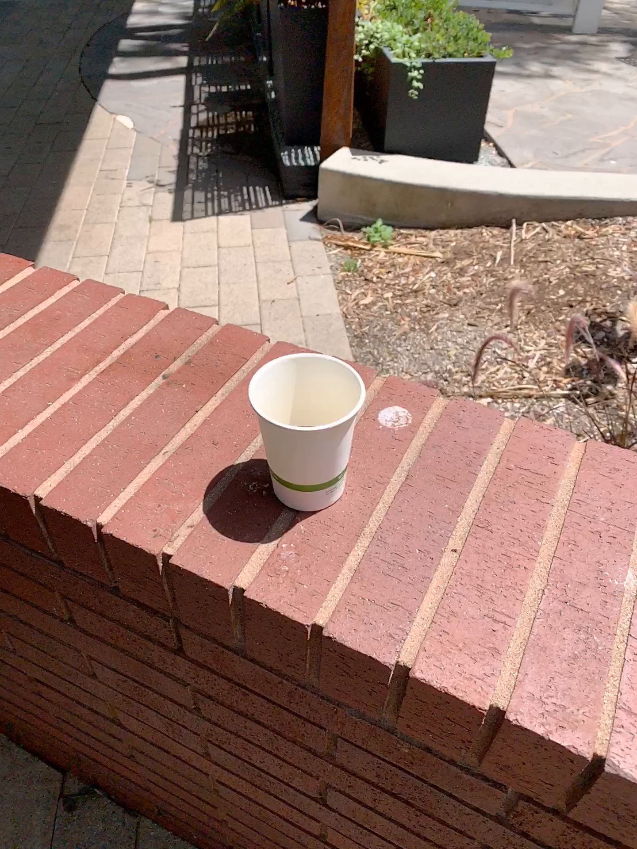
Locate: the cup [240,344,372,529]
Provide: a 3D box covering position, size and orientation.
[{"bbox_3d":[-0.007,0.010,0.523,0.090,0.109,0.090,1,43,-1],"label":"cup"}]
